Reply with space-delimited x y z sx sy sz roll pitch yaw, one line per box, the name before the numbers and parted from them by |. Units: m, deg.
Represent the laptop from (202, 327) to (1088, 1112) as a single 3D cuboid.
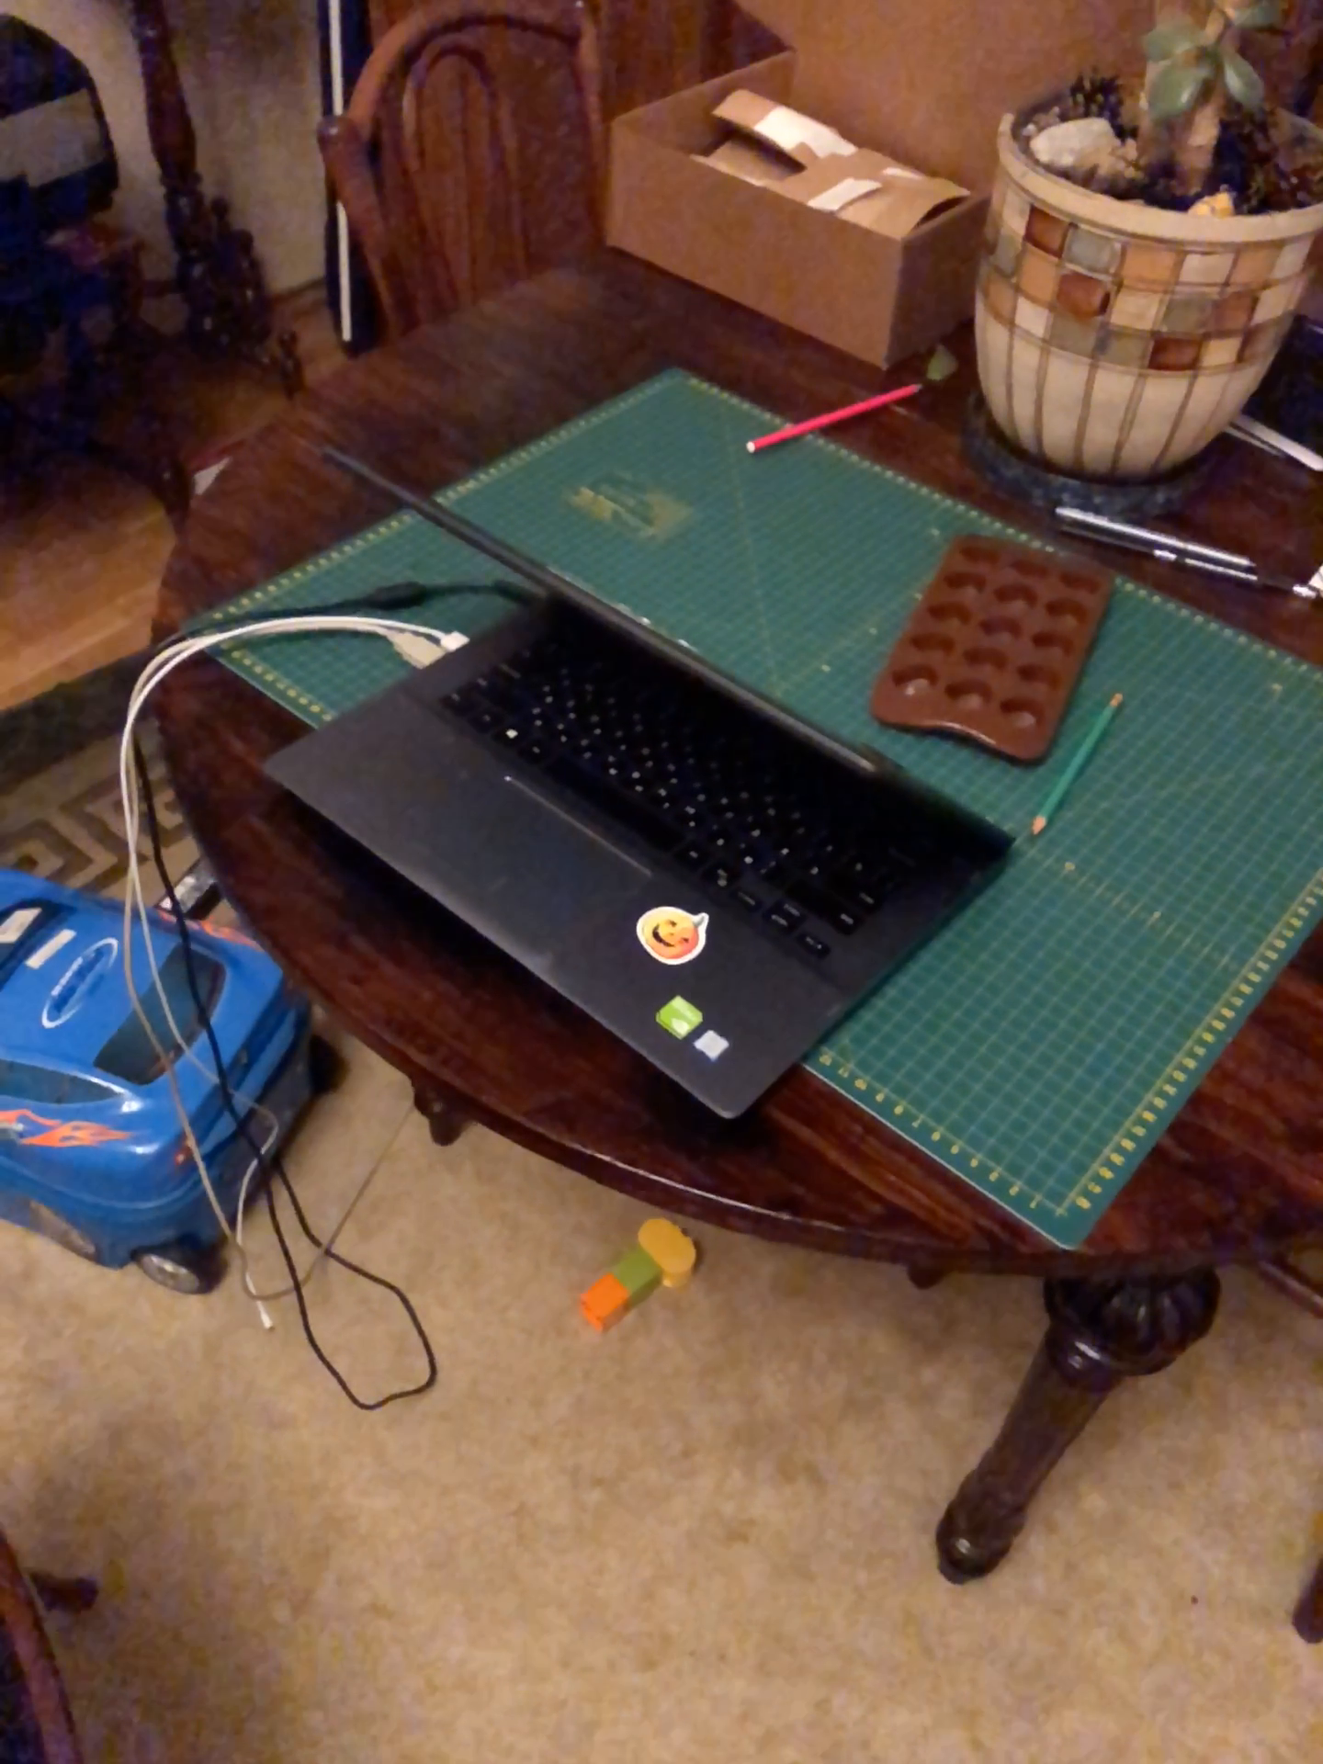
laptop | -0.013 -0.096 0.695 0.317 0.162 0.225 34 54 26
